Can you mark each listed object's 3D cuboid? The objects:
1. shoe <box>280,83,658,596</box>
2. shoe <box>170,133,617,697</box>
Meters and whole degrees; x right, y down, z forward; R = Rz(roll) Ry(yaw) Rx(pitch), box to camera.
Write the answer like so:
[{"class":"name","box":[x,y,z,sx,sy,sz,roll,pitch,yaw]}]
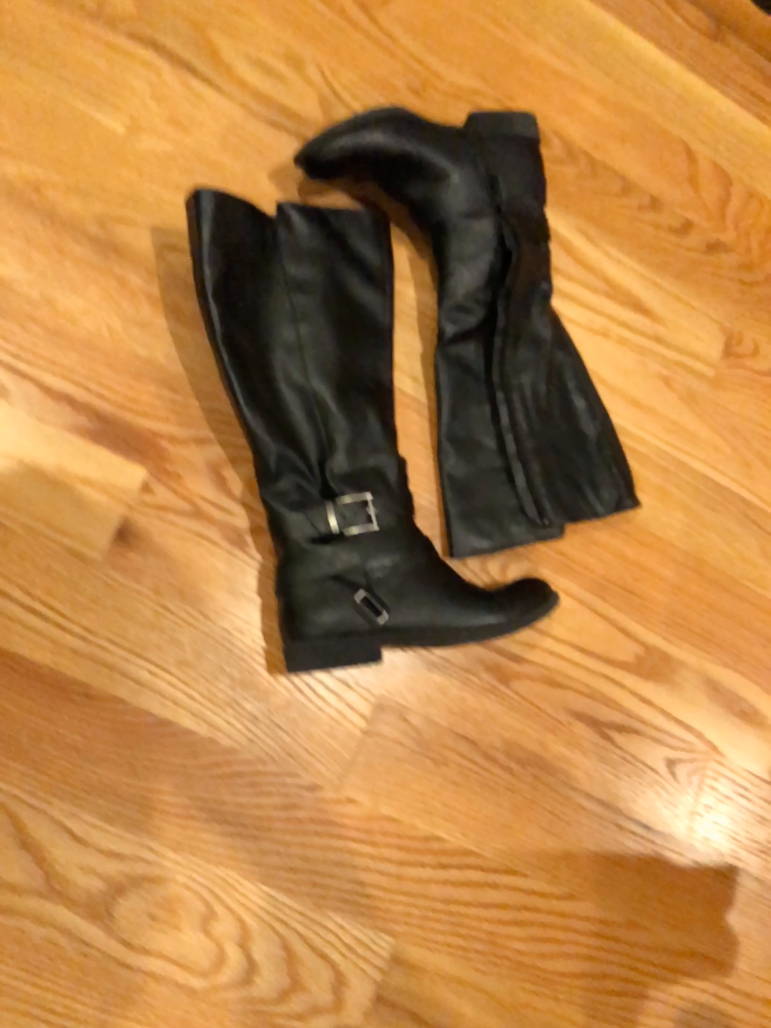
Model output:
[{"class":"shoe","box":[0.063,-0.143,0.720,0.251,0.094,0.393,-4,81,-19]},{"class":"shoe","box":[0.000,-0.081,0.687,0.291,0.104,0.403,-5,82,-19]}]
